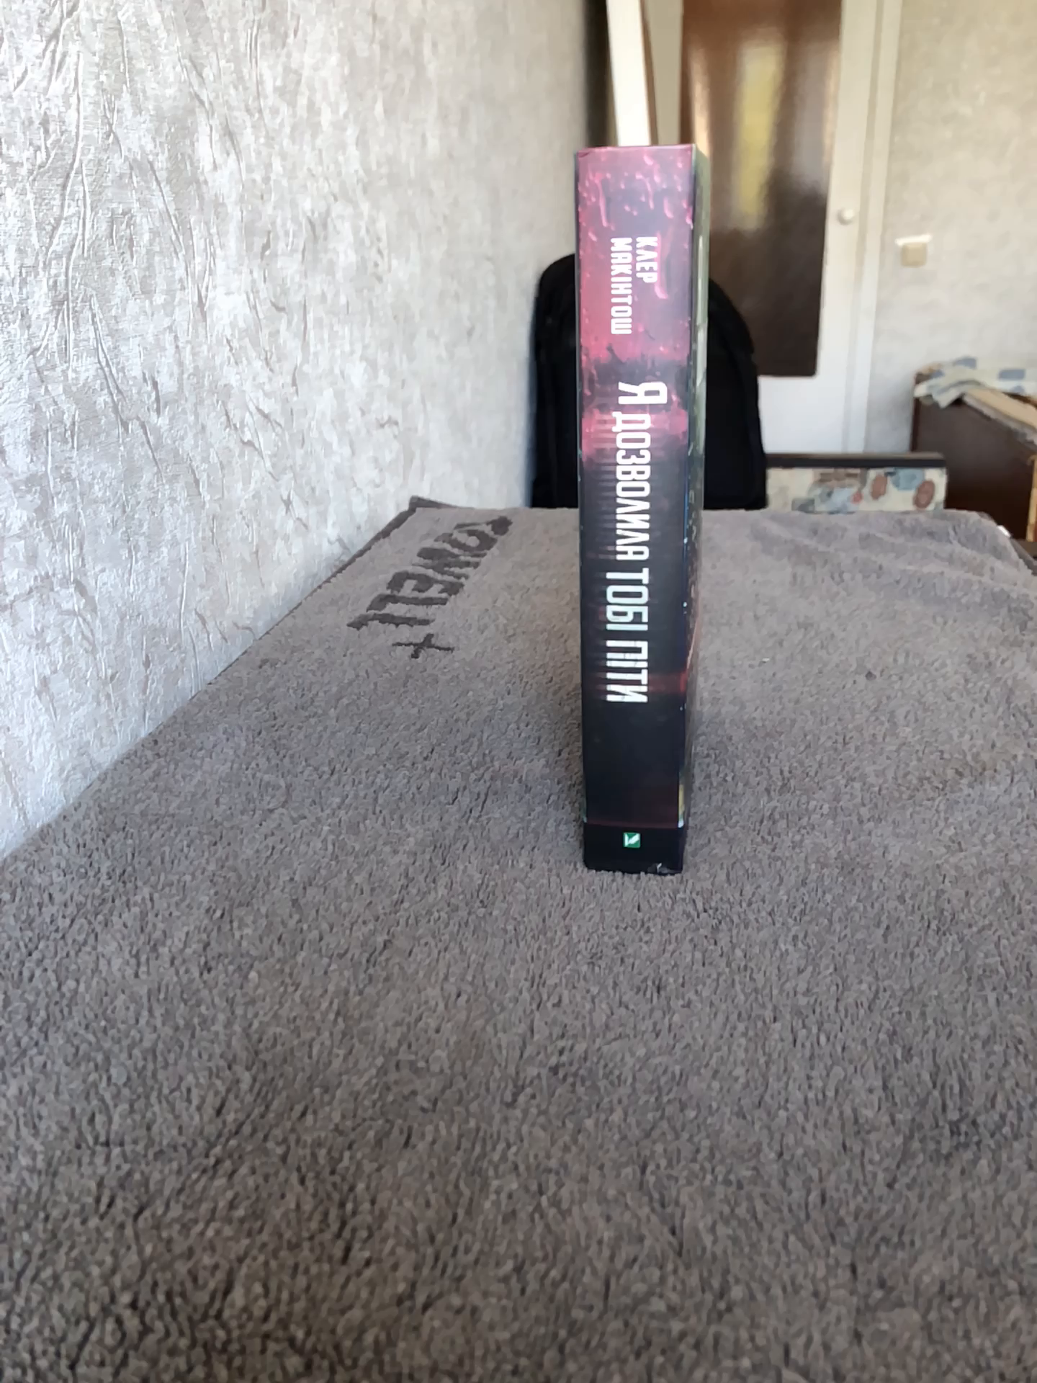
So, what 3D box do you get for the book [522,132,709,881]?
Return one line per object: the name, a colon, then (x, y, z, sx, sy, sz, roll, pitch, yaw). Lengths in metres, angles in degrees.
book: (0.033, -0.064, 0.371, 0.044, 0.201, 0.140, 1, 21, 6)
